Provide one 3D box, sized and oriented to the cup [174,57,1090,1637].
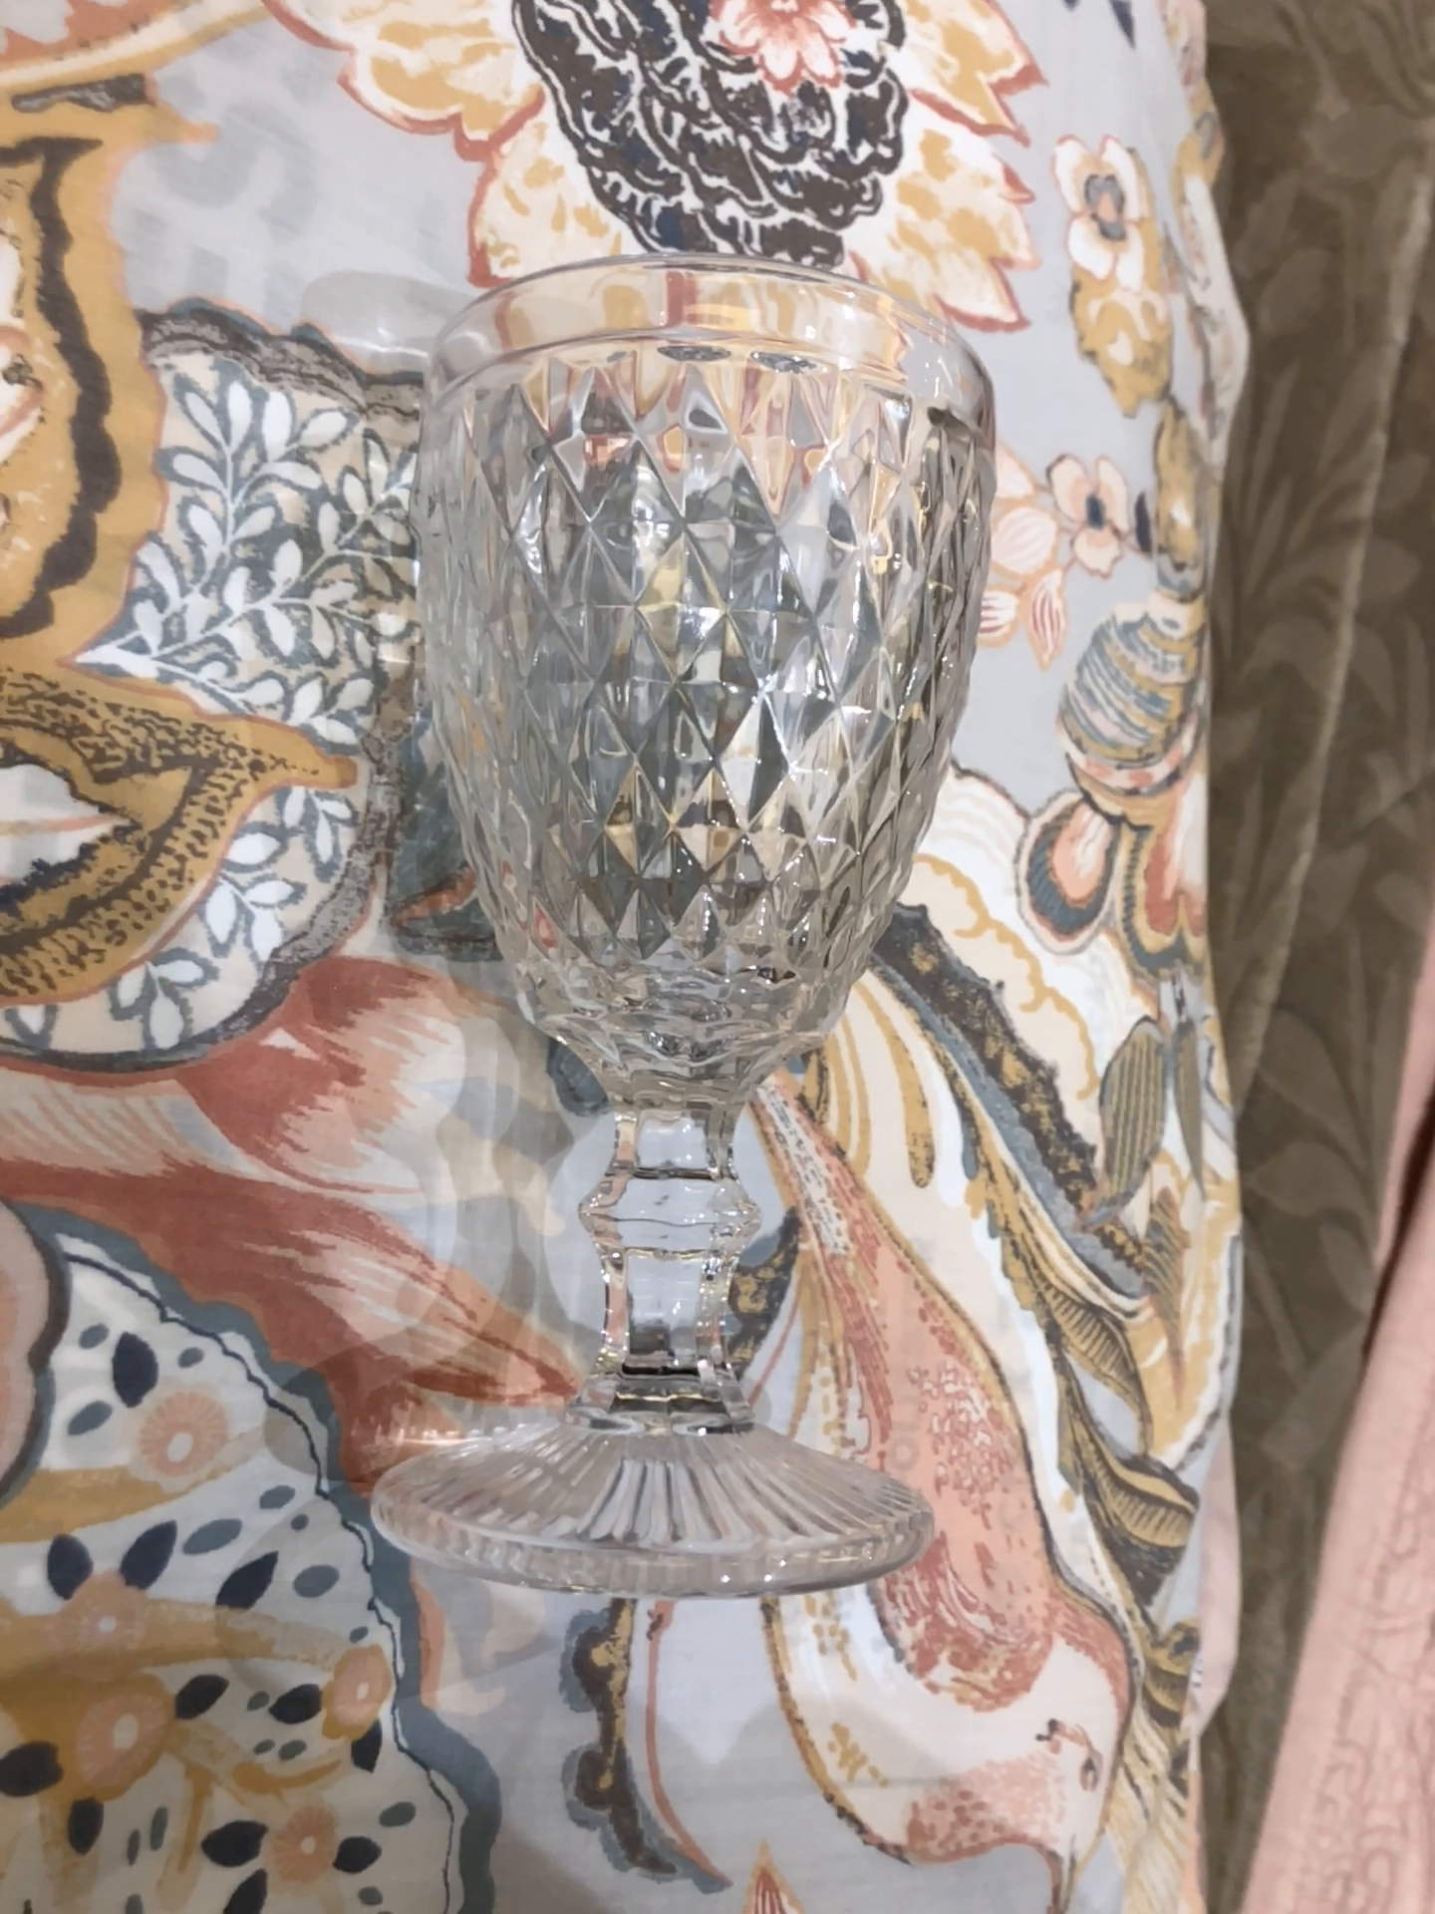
[{"bbox_3d":[-0.011,-0.008,0.225,0.090,0.080,0.170,9,76,-35],"label":"cup"}]
